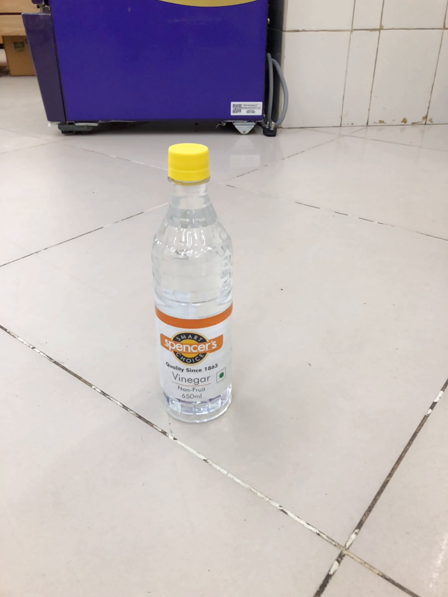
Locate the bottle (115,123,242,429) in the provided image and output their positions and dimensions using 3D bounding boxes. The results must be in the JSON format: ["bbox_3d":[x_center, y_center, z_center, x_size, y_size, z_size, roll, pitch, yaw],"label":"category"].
[{"bbox_3d":[-0.027,-0.011,0.404,0.080,0.238,0.081,0,30,0],"label":"bottle"}]
